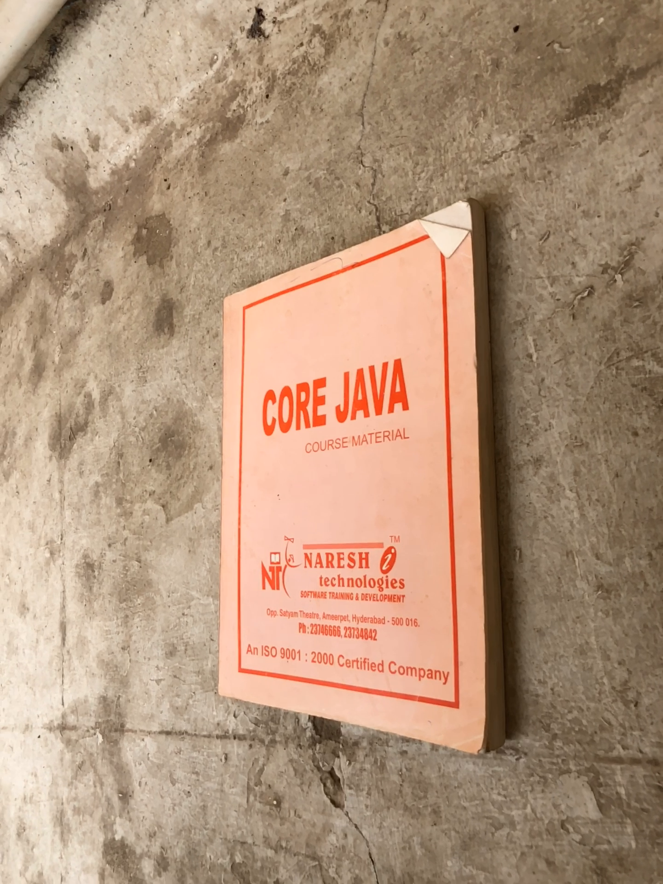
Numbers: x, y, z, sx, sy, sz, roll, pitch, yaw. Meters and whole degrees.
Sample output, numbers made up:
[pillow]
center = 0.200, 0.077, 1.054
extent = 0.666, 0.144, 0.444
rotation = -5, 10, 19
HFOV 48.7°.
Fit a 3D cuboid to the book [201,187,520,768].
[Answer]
[book]
center = 0.003, 0.021, 0.406
extent = 0.201, 0.030, 0.260
rotation = -10, 76, 45
